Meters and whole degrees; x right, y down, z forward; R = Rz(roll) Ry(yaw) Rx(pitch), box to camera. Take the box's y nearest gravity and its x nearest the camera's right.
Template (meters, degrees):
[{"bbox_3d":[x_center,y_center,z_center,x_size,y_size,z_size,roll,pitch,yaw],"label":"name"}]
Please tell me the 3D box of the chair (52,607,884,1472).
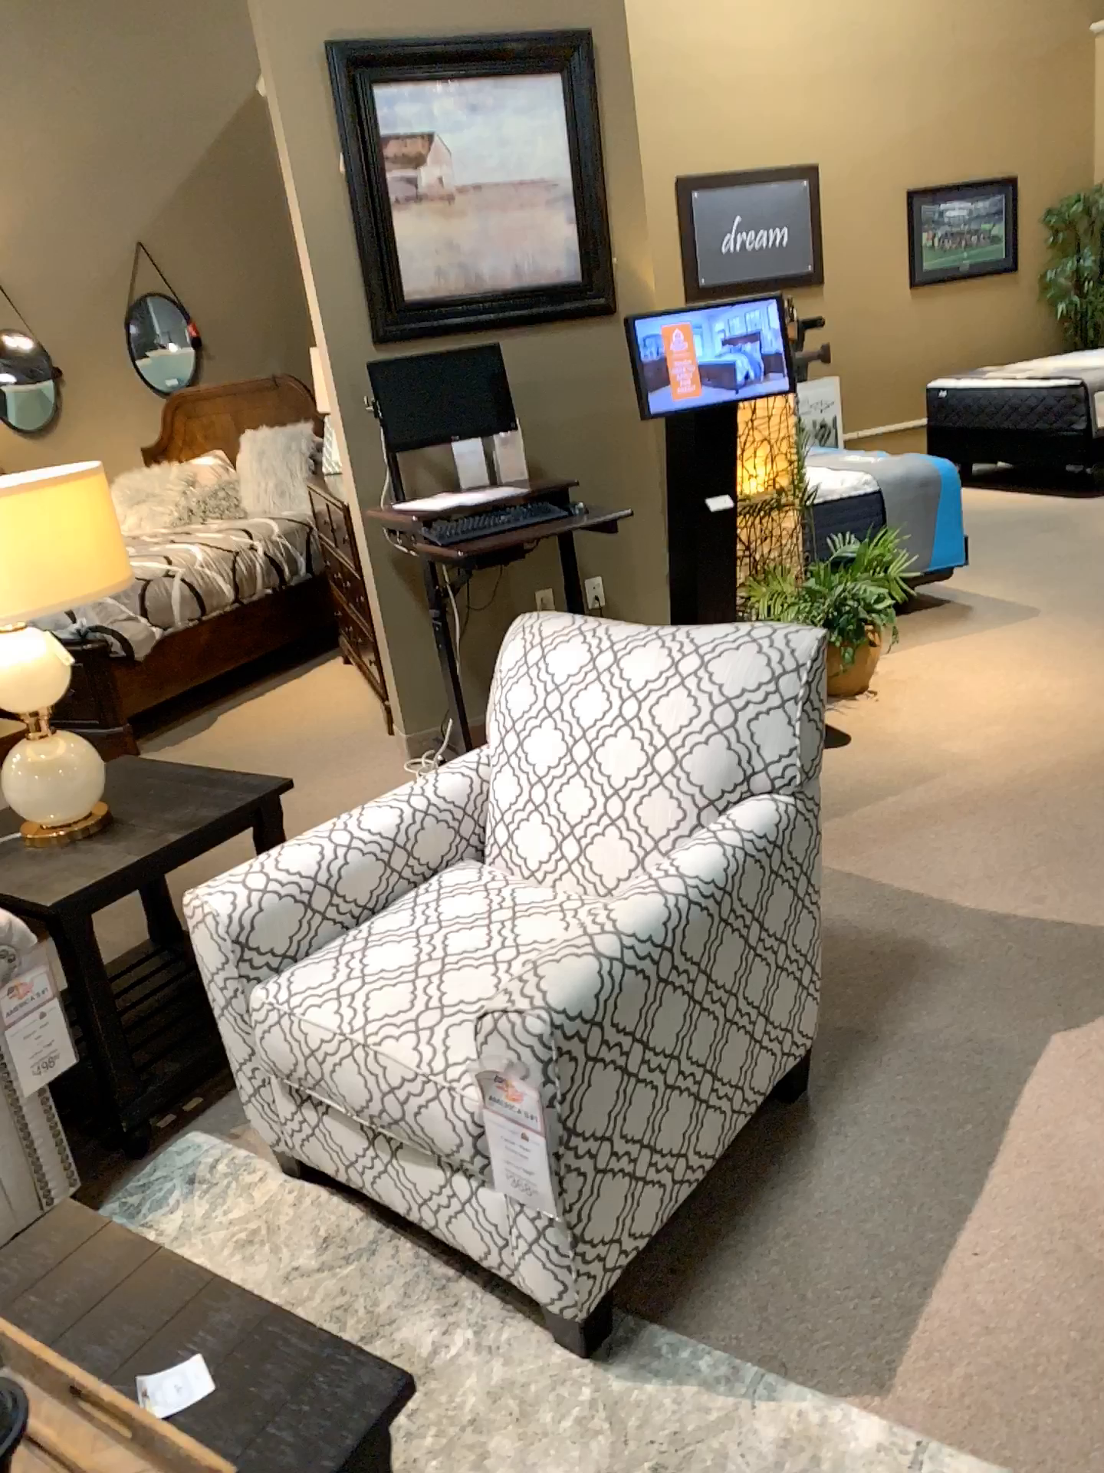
[{"bbox_3d":[-0.071,0.333,1.918,0.876,0.847,0.966,8,25,39],"label":"chair"}]
